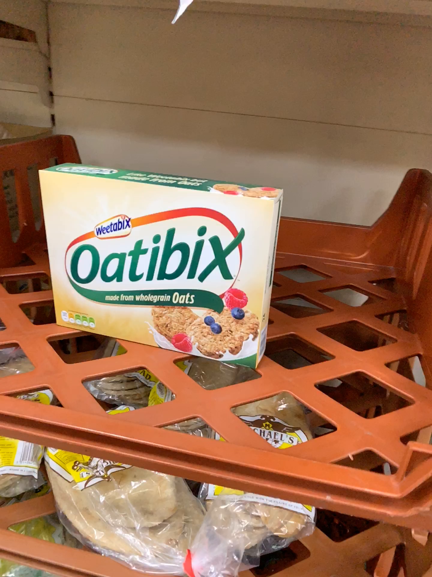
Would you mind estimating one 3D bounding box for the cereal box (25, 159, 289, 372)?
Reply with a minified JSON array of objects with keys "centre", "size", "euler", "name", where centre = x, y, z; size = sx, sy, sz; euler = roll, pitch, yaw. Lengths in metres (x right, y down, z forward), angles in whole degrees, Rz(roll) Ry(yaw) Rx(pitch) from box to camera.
[{"centre":[-0.066,-0.032,0.484],"size":[0.260,0.178,0.071],"euler":[11,25,14],"name":"cereal box"}]
